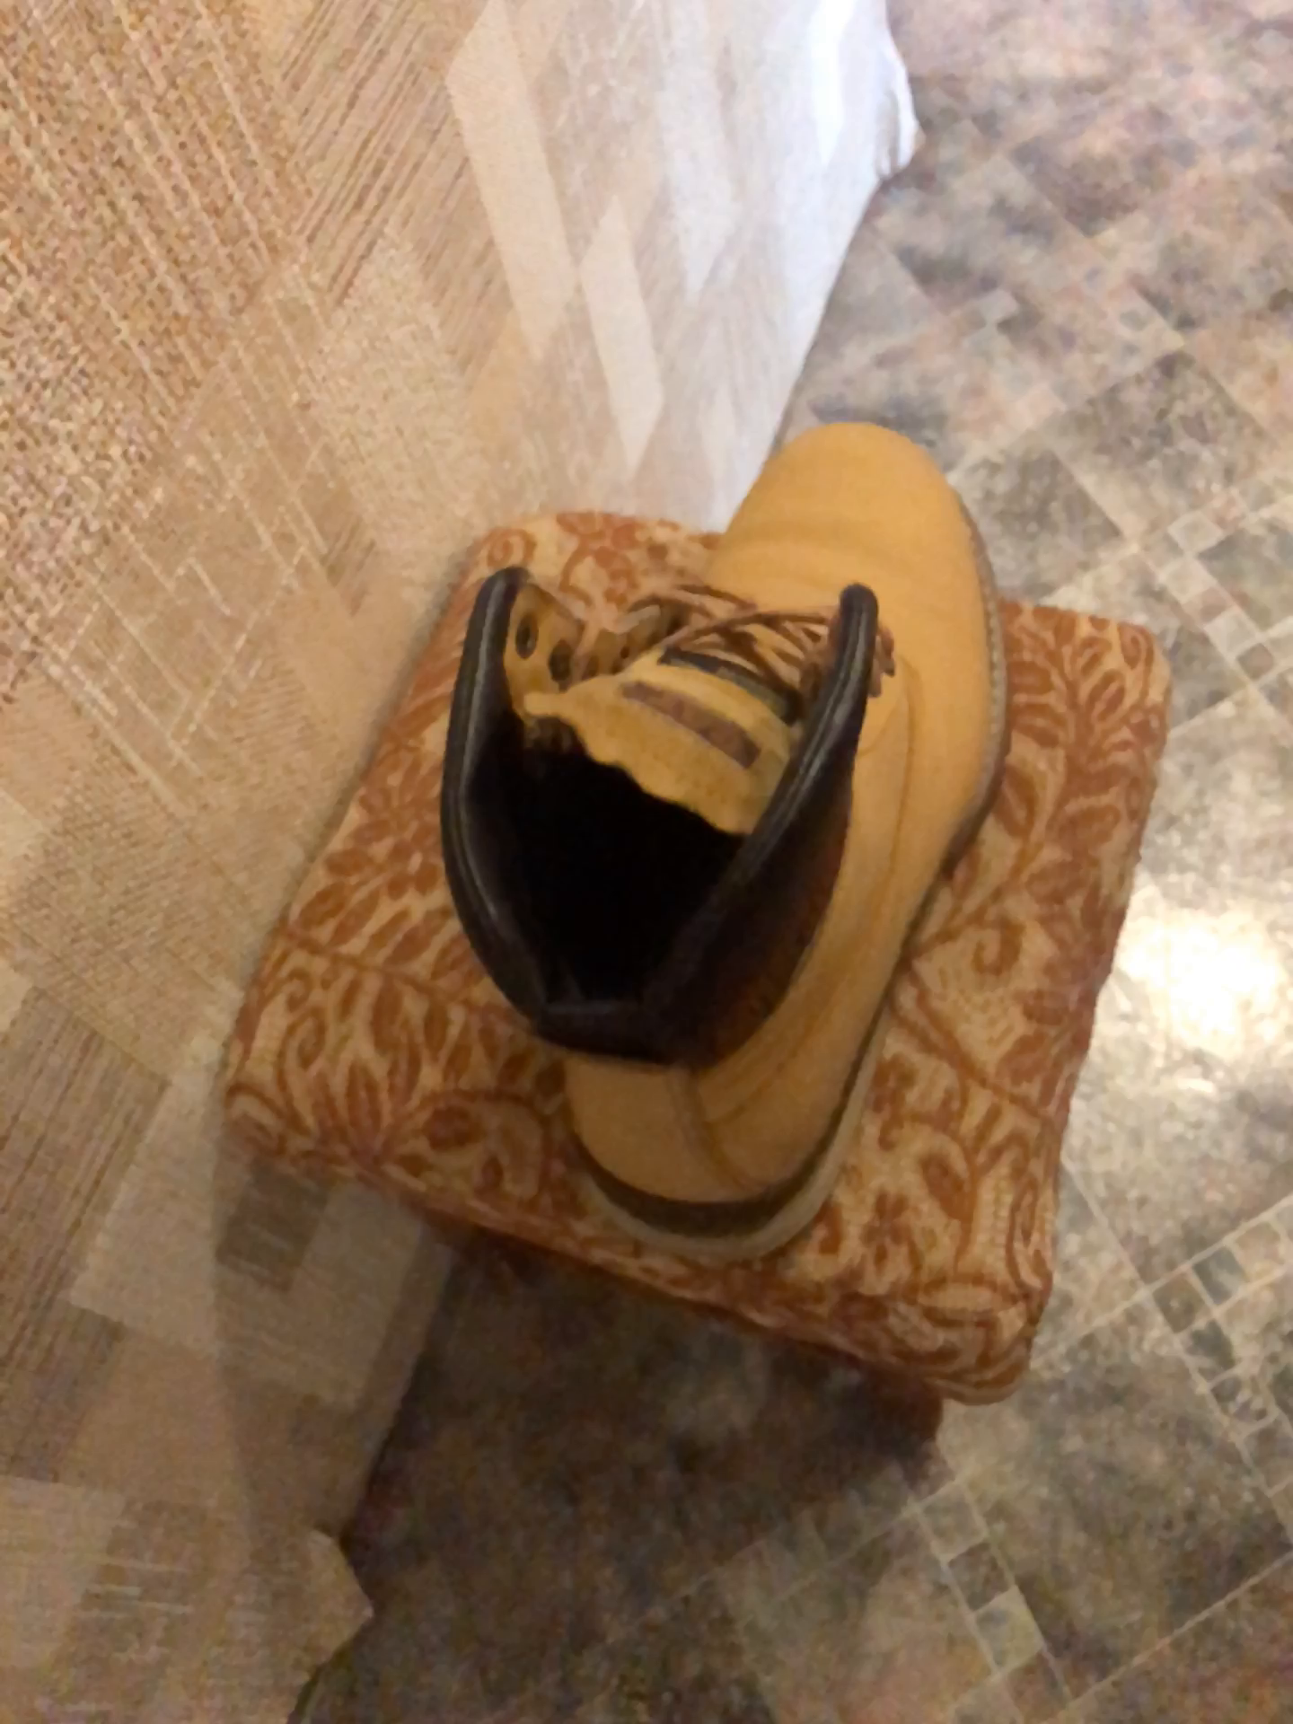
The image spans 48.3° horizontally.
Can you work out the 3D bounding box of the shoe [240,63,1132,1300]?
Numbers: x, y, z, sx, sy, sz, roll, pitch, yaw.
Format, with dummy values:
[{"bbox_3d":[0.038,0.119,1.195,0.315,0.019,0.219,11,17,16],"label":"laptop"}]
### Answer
[{"bbox_3d":[0.037,-0.051,0.428,0.130,0.189,0.291,13,65,17],"label":"shoe"}]
